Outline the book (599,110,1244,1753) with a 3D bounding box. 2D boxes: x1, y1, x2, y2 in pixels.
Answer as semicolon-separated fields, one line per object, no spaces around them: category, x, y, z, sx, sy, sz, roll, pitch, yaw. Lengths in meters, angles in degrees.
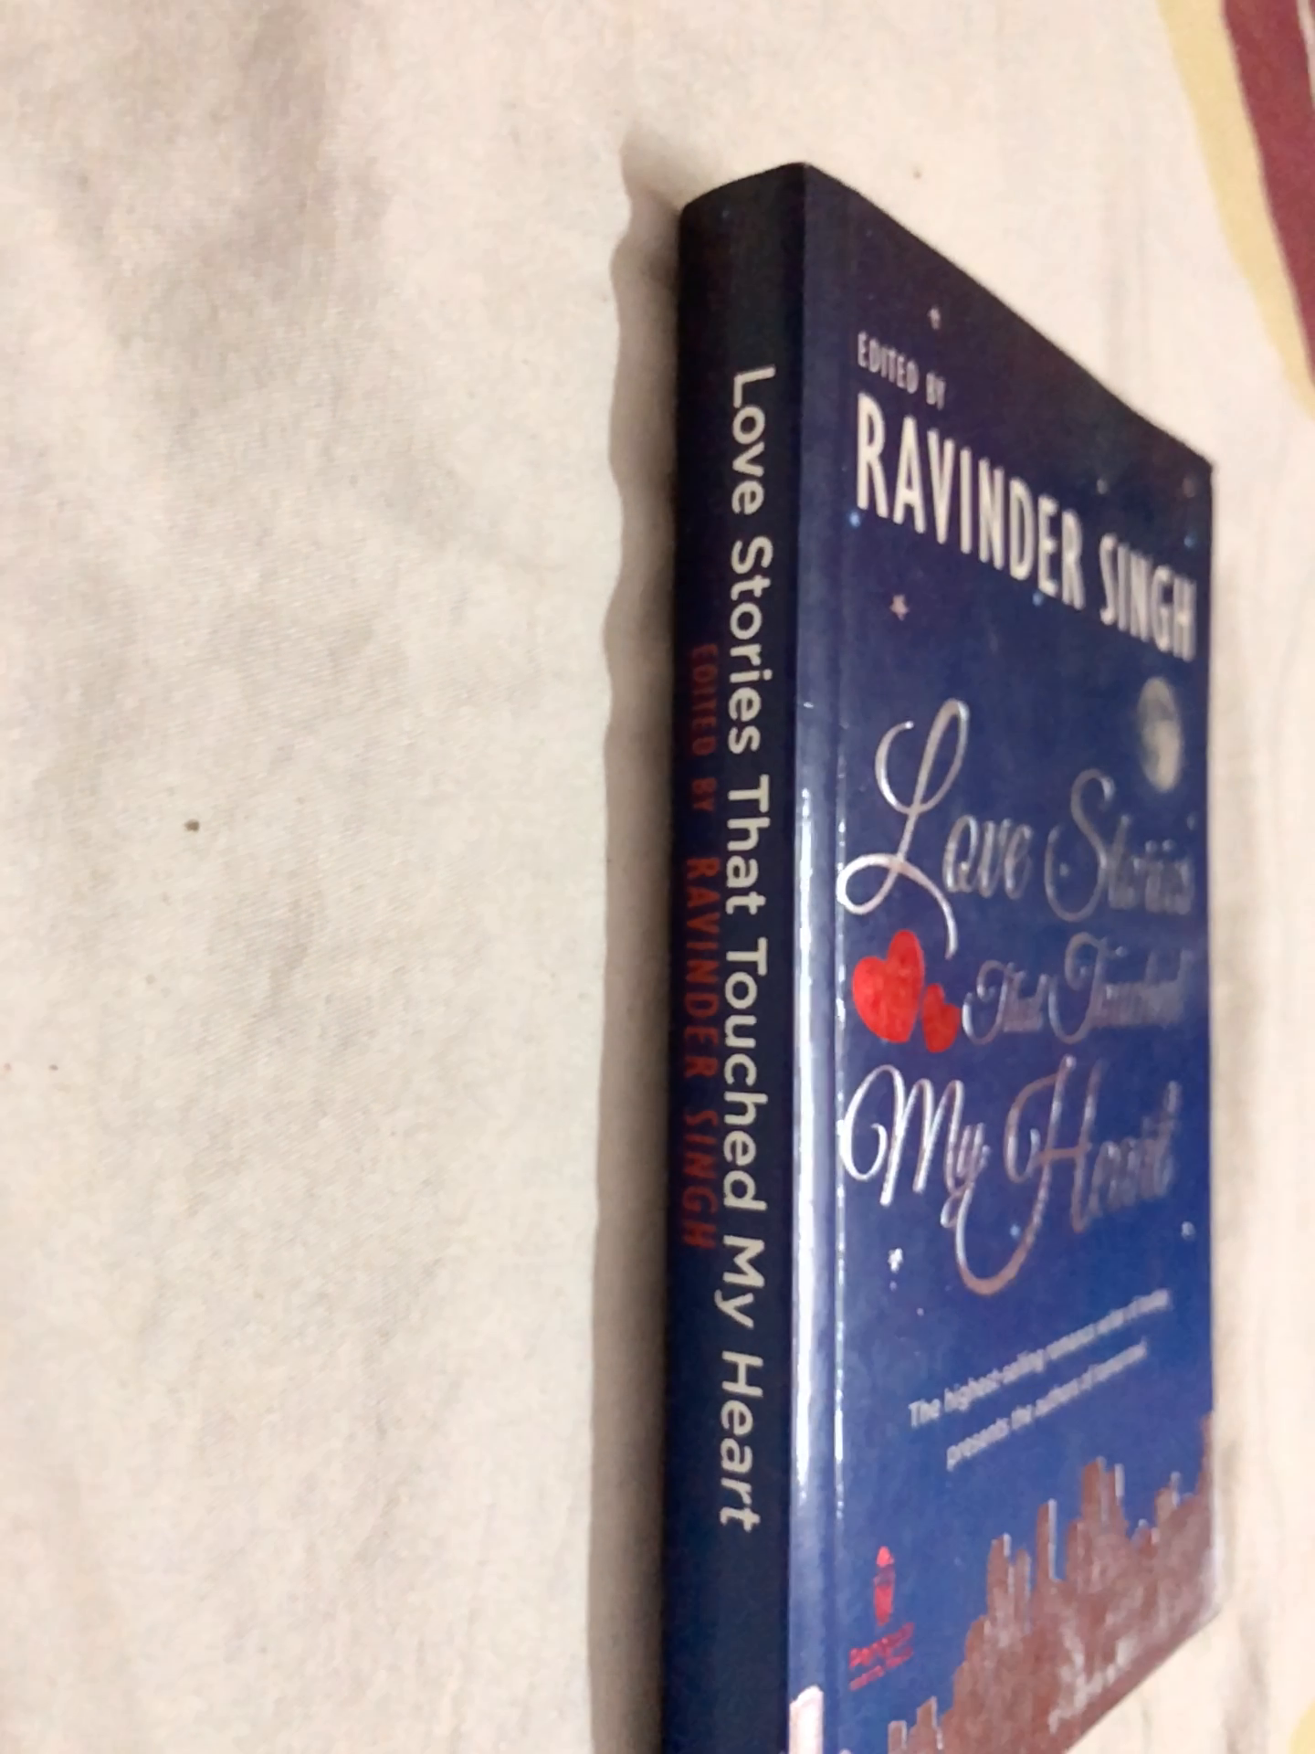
book;0.049;0.023;0.221;0.131;0.030;0.210;4;86;-49
